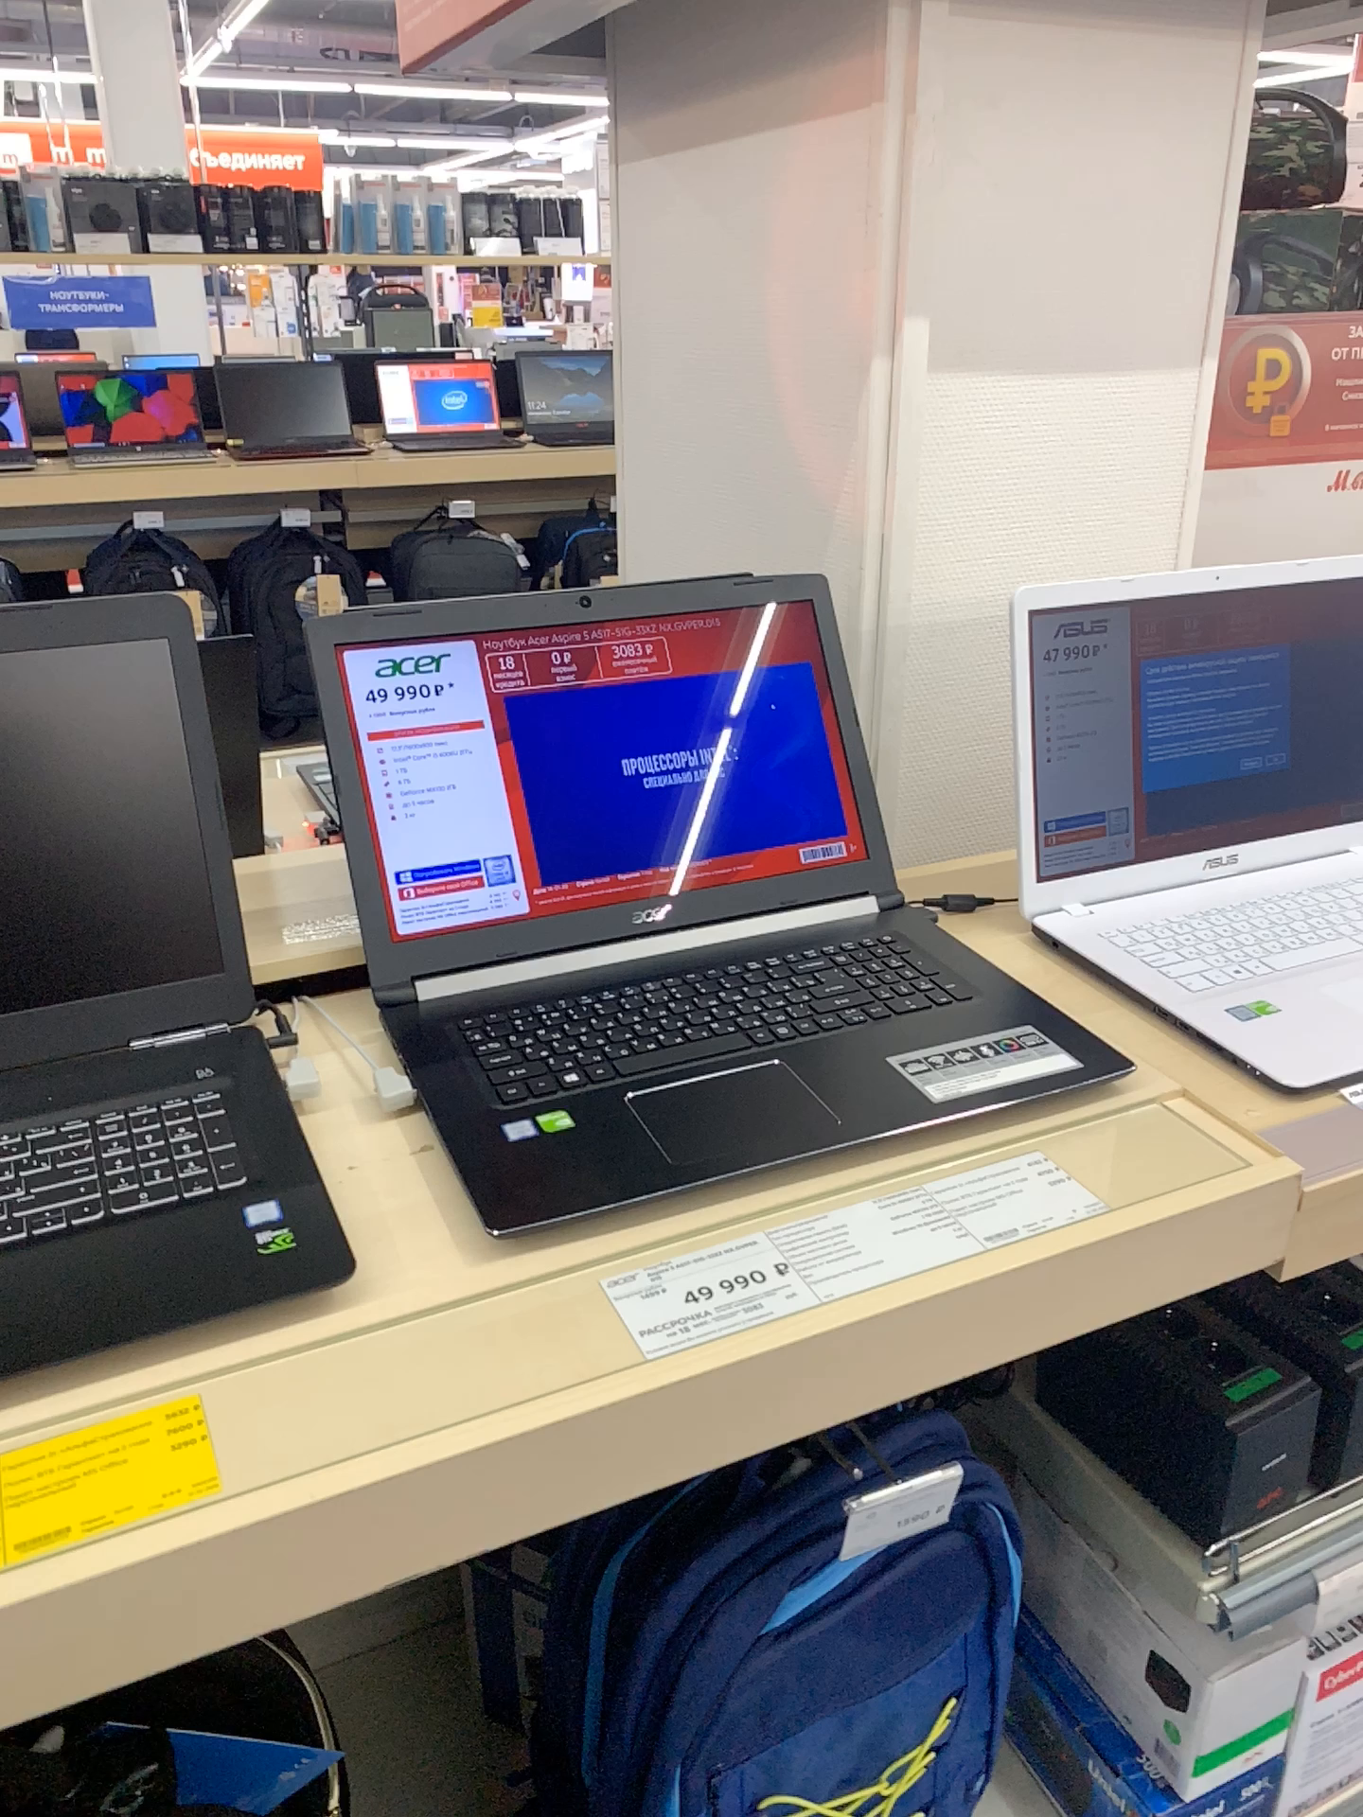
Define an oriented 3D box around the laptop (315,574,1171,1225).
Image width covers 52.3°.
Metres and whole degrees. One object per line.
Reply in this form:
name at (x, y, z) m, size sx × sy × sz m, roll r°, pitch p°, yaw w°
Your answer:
laptop at (0.011, -0.055, 0.951) m, size 0.420 × 0.235 × 0.422 m, roll -10°, pitch 26°, yaw -22°
